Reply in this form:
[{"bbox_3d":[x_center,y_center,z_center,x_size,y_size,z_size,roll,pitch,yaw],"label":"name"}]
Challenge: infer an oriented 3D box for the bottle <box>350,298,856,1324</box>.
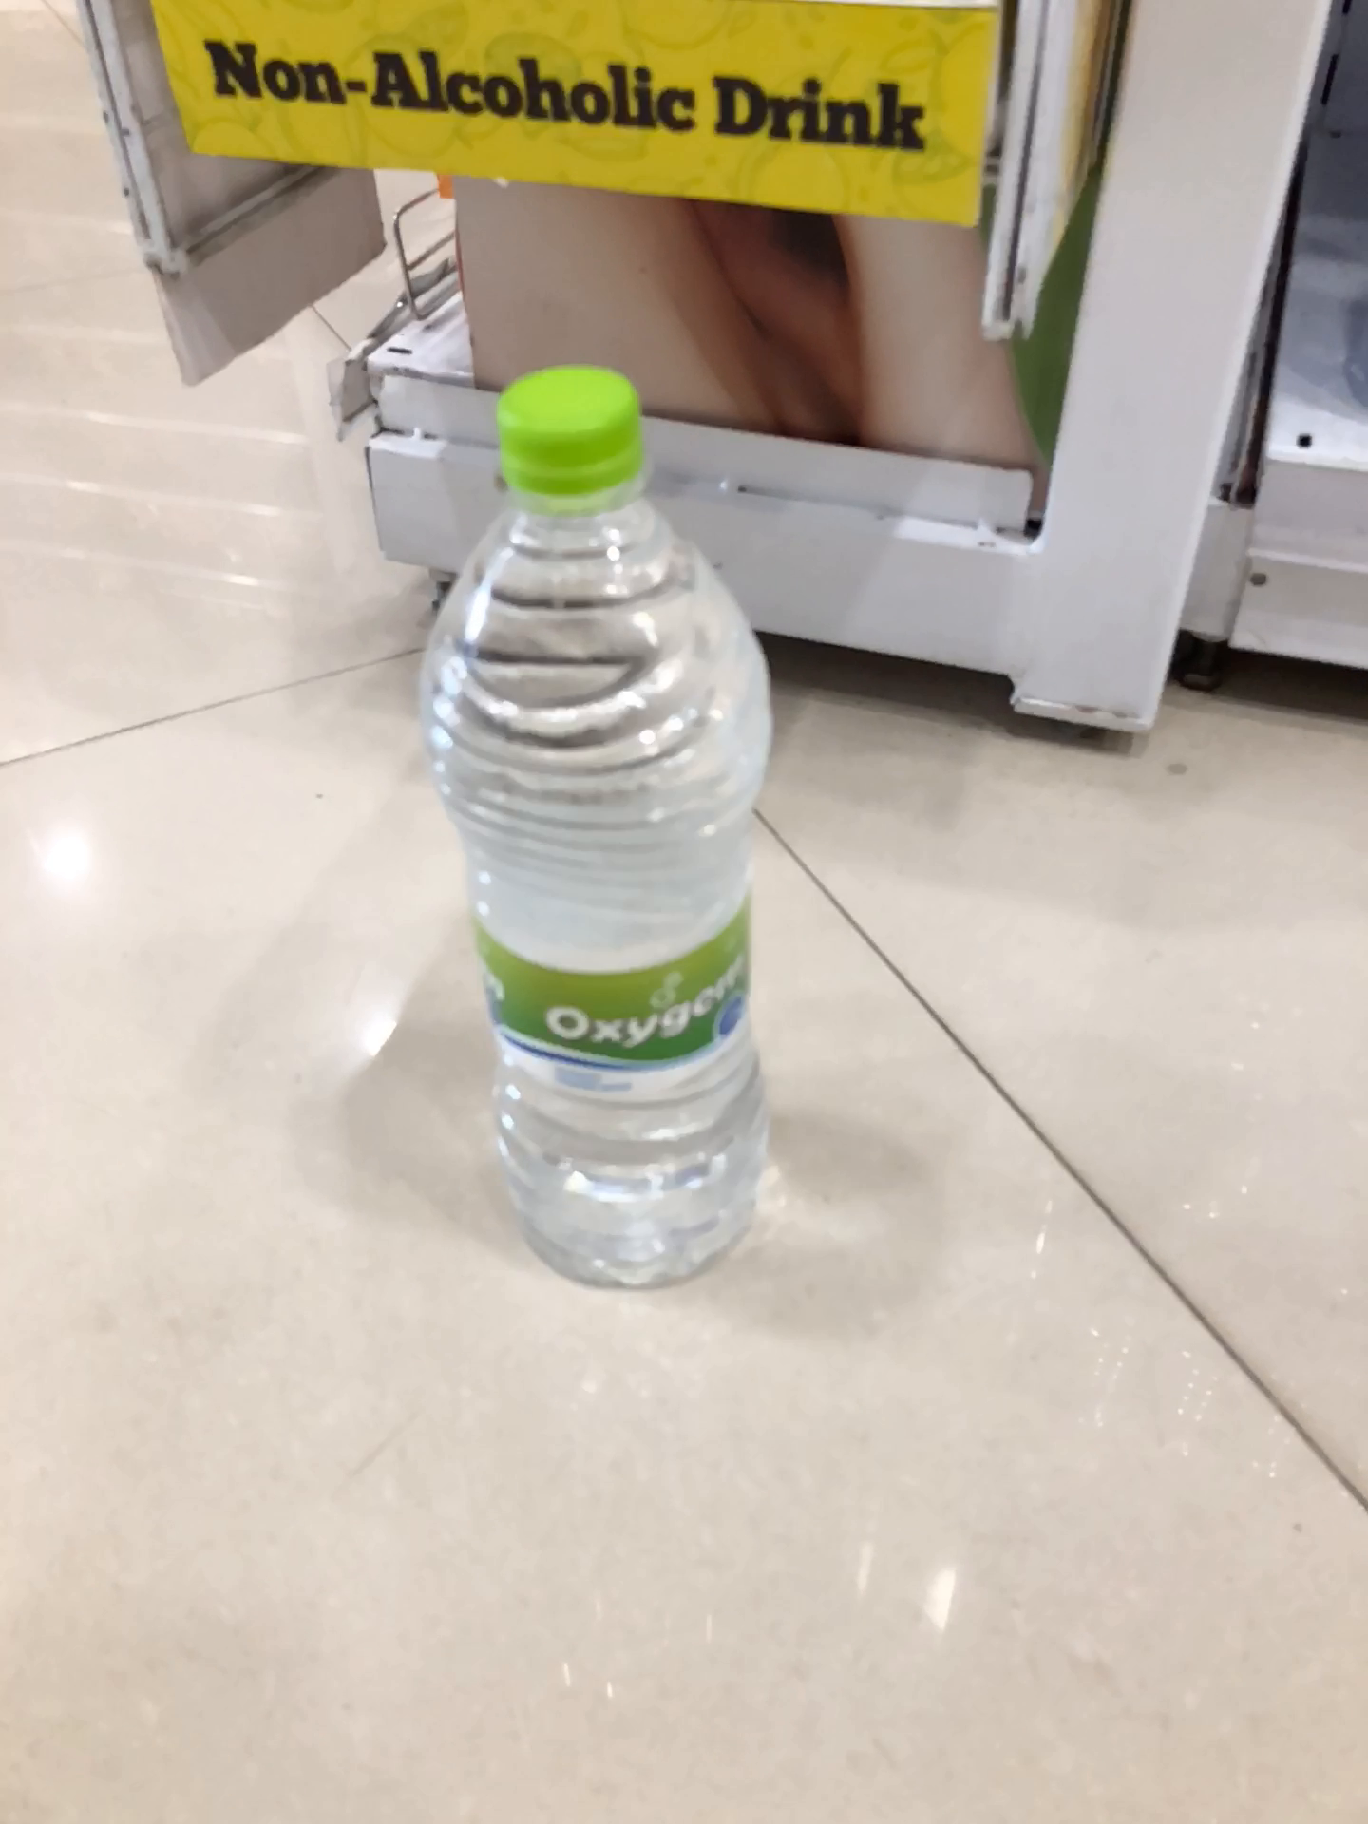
[{"bbox_3d":[-0.016,-0.008,0.381,0.090,0.258,0.080,-6,42,-5],"label":"bottle"}]
